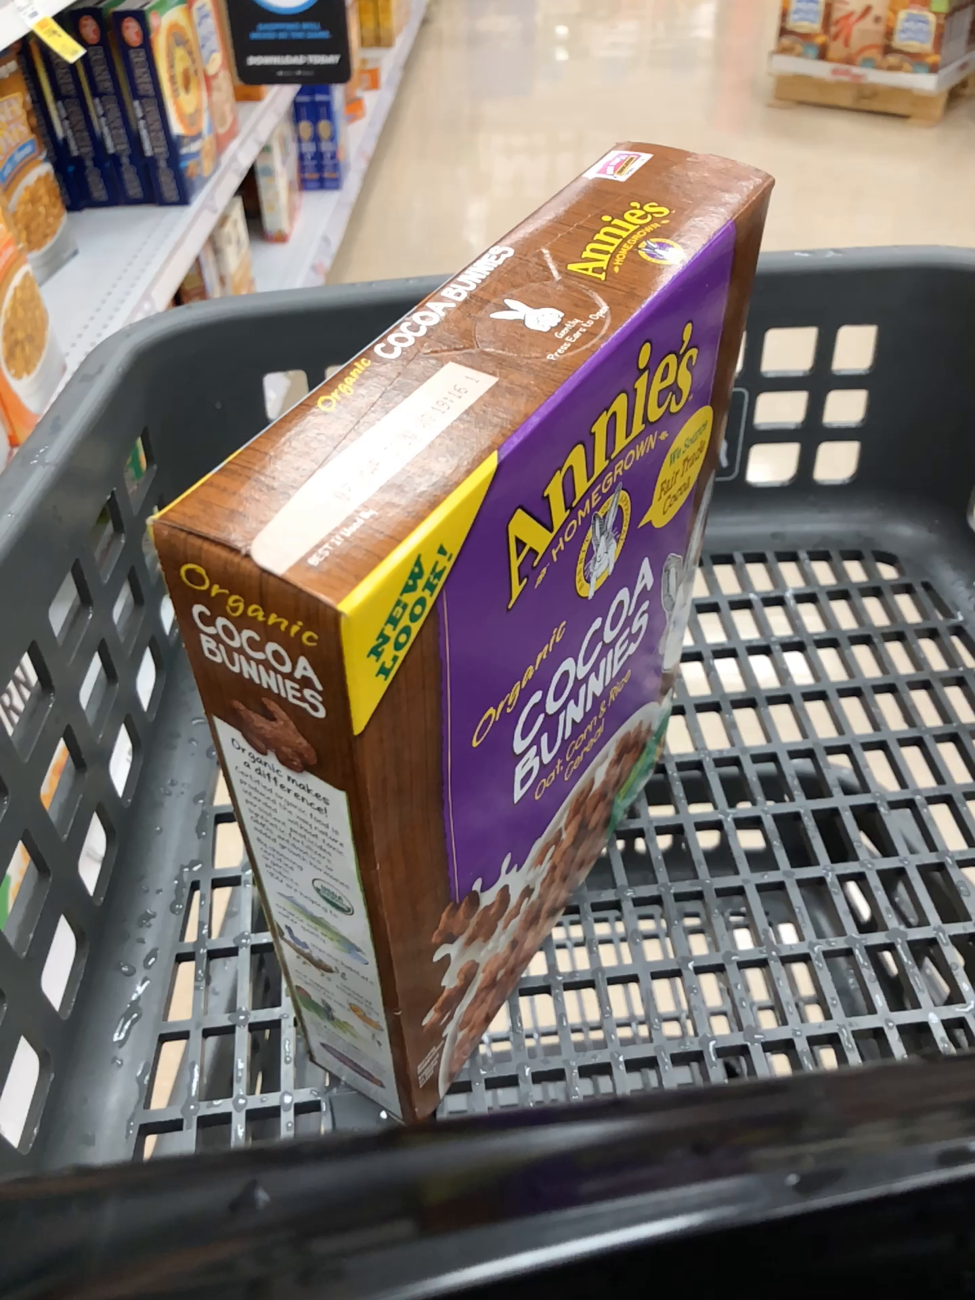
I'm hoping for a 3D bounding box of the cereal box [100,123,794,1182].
[{"bbox_3d":[0.011,0.008,0.318,0.050,0.239,0.200,22,49,23],"label":"cereal box"}]
